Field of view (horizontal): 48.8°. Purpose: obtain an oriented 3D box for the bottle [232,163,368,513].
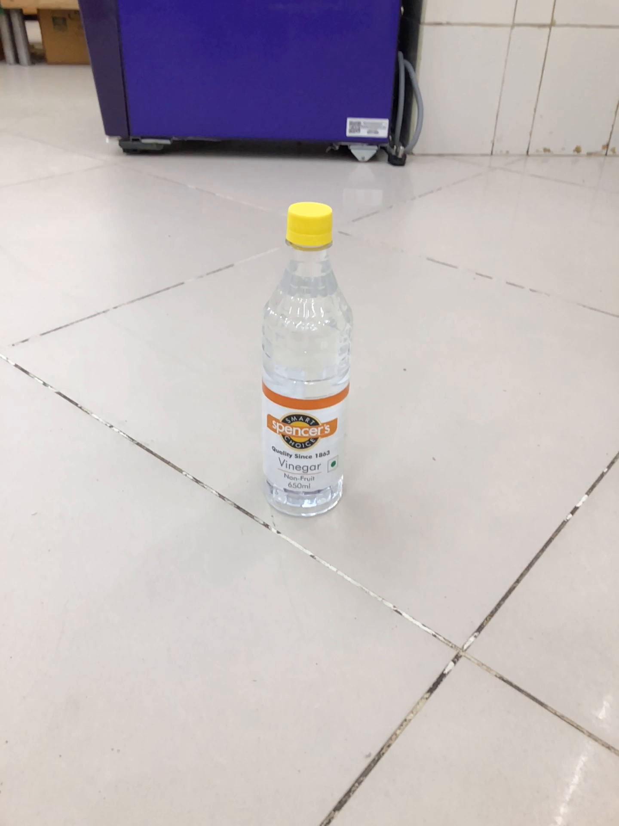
[{"bbox_3d":[-0.006,-0.047,0.497,0.080,0.238,0.081,1,33,-1],"label":"bottle"}]
